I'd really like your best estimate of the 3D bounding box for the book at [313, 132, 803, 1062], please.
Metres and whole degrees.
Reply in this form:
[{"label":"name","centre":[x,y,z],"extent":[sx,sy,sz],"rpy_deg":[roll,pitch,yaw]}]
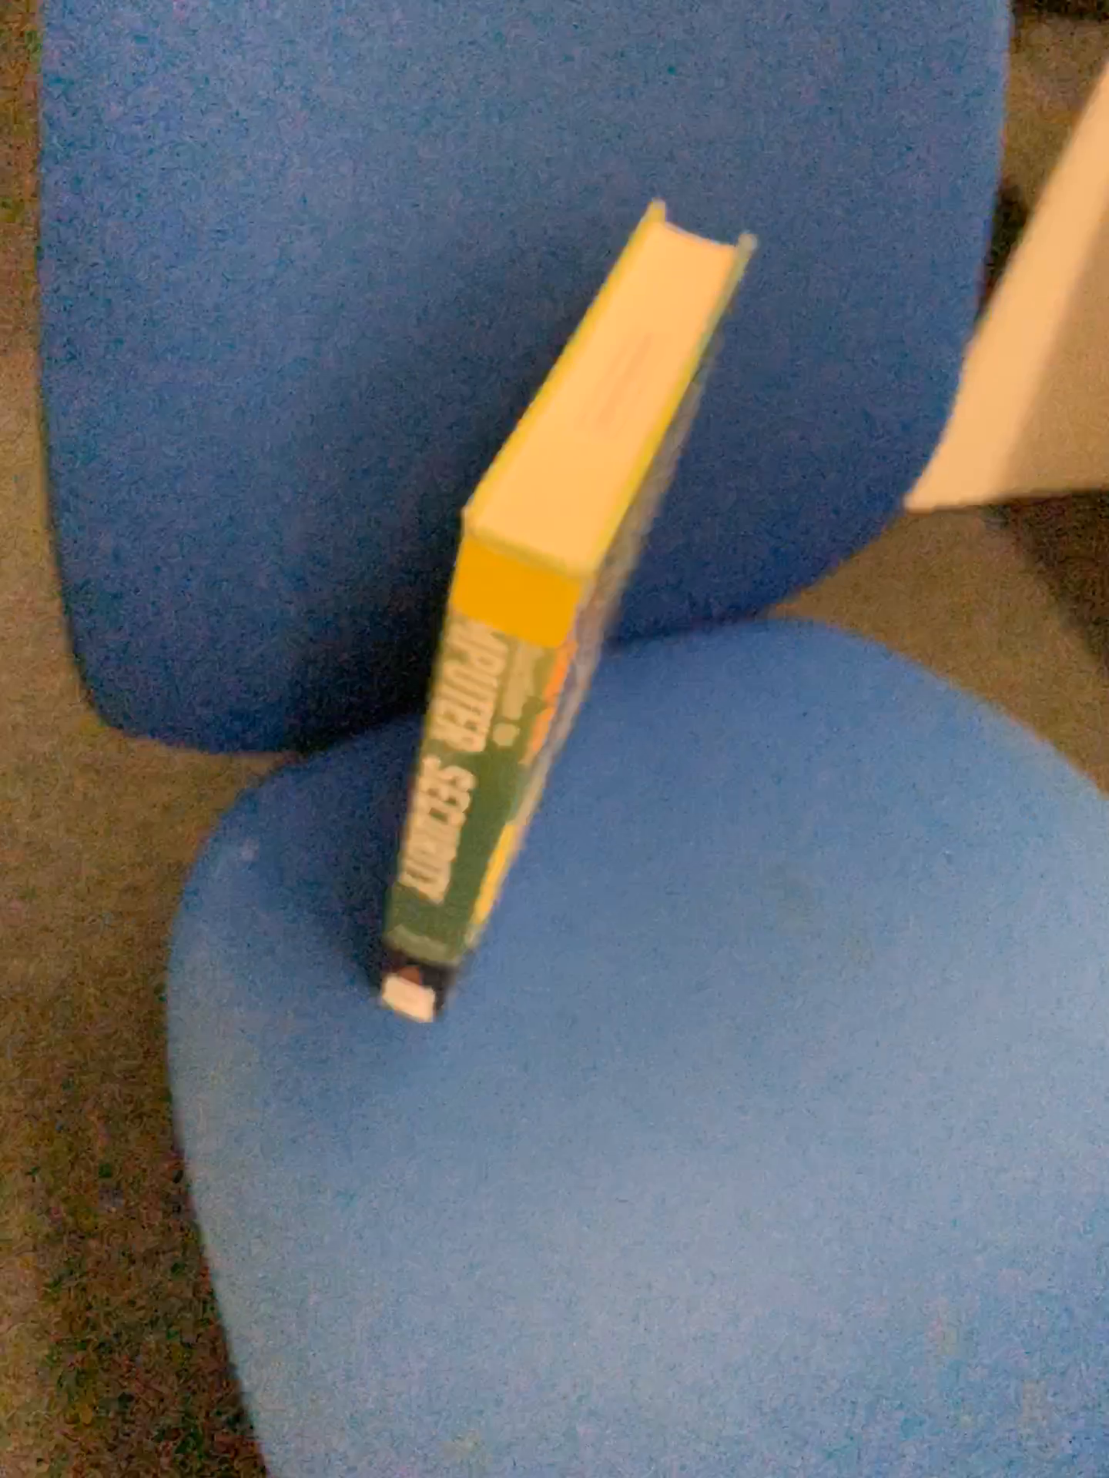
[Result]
[{"label":"book","centre":[-0.009,-0.034,0.426],"extent":[0.050,0.278,0.212],"rpy_deg":[24,53,2]}]
